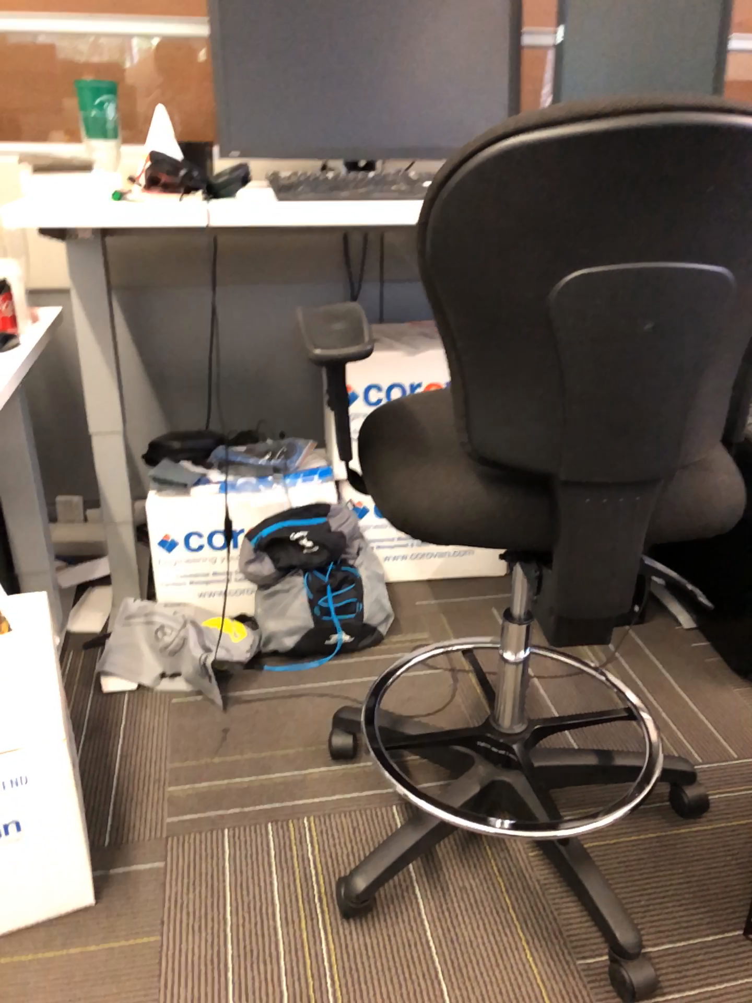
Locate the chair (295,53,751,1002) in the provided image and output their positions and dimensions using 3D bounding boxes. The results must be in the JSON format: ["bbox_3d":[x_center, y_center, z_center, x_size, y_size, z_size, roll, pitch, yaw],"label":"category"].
[{"bbox_3d":[0.231,0.021,1.206,0.640,1.134,0.734,-2,24,-6],"label":"chair"}]
